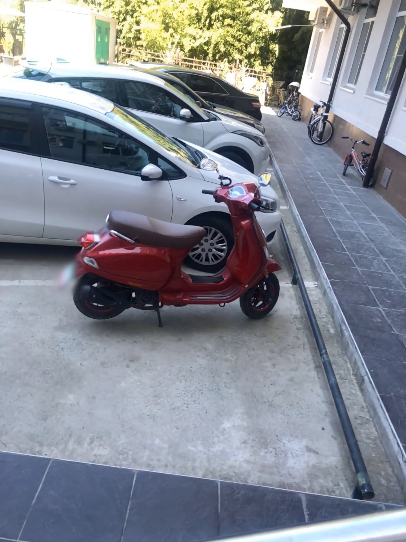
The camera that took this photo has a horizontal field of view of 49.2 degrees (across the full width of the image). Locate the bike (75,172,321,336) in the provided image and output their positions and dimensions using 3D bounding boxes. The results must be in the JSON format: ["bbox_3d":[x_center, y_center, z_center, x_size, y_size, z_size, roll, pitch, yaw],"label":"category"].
[{"bbox_3d":[-0.088,-0.143,3.207,1.594,0.951,0.536,-1,28,-19],"label":"bike"}]
